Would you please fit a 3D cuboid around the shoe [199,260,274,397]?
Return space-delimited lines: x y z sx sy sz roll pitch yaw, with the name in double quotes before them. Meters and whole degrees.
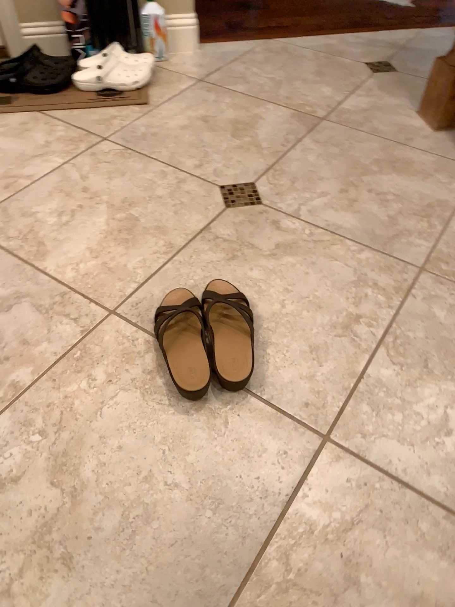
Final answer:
"shoe" 0.010 0.041 0.908 0.110 0.092 0.259 -4 49 -5

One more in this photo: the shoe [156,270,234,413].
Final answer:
"shoe" -0.068 0.065 0.911 0.110 0.092 0.265 -8 49 -8
